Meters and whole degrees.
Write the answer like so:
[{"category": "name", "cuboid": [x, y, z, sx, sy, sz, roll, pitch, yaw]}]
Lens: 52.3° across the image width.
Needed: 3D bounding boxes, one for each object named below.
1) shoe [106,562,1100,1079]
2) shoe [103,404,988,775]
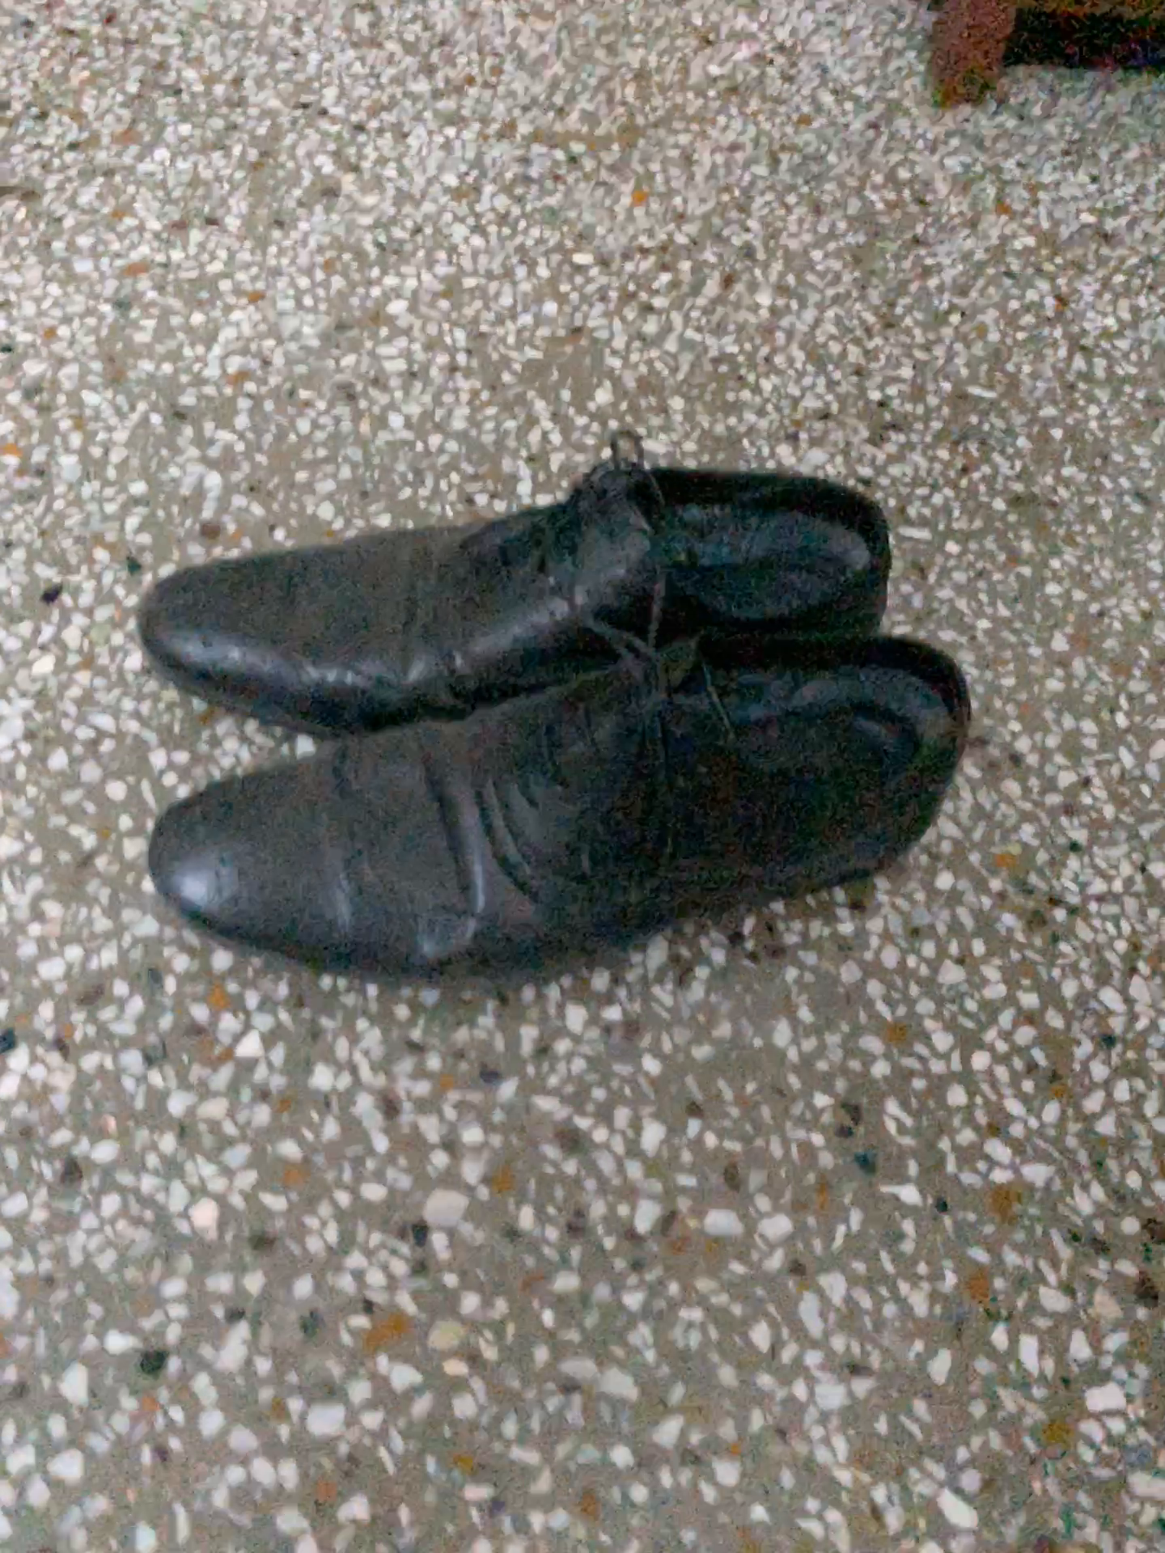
[{"category": "shoe", "cuboid": [0.006, 0.012, 0.439, 0.320, 0.100, 0.100, -10, 61, -13]}, {"category": "shoe", "cuboid": [-0.016, -0.079, 0.492, 0.320, 0.100, 0.100, -4, 60, -10]}]
